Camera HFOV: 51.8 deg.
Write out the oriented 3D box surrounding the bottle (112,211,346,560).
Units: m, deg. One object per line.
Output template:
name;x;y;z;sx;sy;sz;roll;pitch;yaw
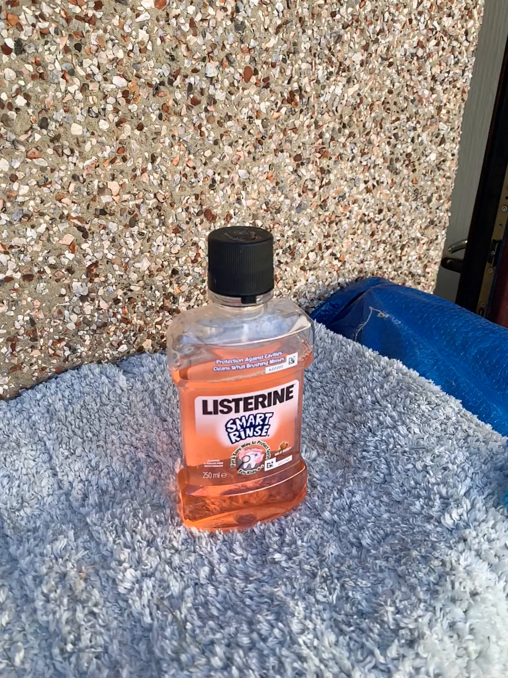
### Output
bottle;-0.012;0.026;0.263;0.090;0.158;0.050;-10;31;-15
